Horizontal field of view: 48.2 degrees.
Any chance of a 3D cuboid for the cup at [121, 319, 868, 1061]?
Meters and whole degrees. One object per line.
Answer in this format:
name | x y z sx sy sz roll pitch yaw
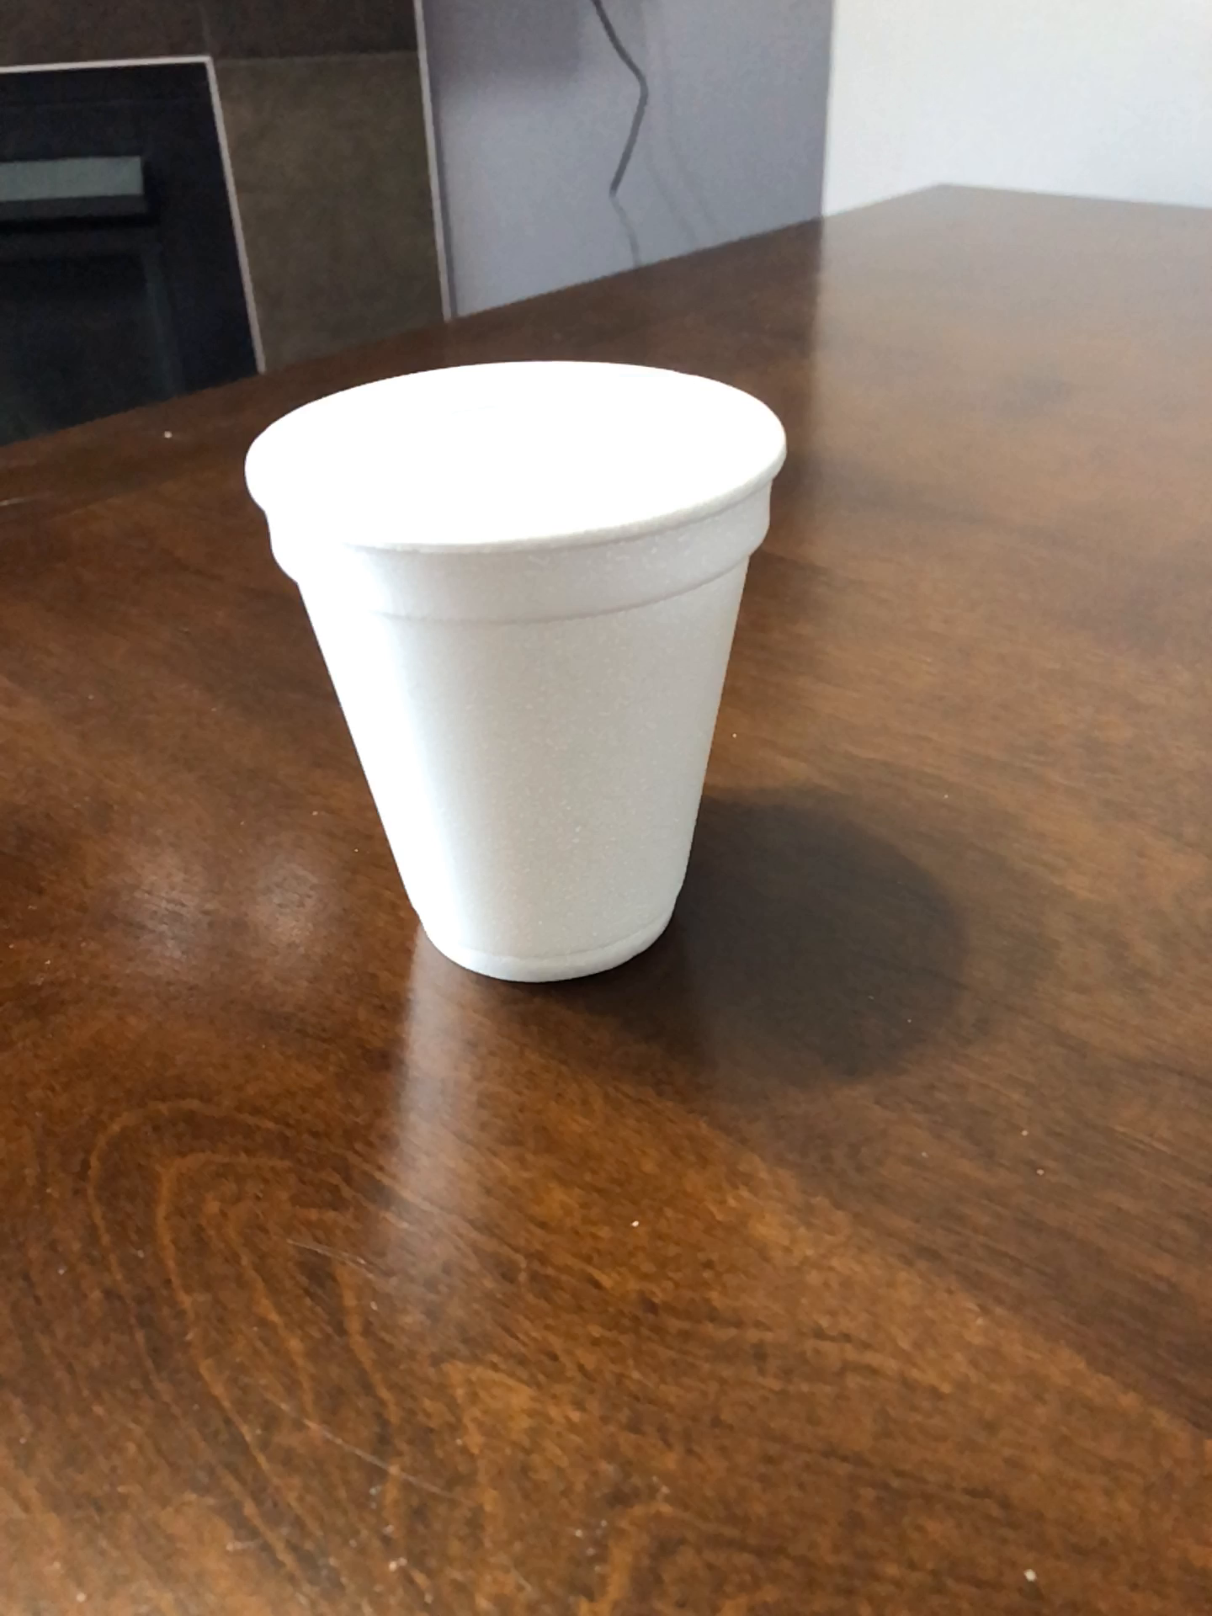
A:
cup | -0.010 -0.025 0.218 0.080 0.080 0.080 -2 33 1
